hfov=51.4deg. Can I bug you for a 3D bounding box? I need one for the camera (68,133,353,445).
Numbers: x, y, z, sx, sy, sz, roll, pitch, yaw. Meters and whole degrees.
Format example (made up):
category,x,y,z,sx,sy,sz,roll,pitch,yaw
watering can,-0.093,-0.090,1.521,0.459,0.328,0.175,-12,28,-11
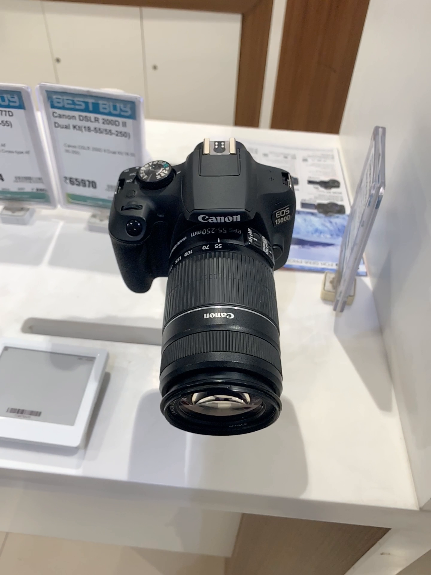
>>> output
category,x,y,z,sx,sy,sz,roll,pitch,yaw
camera,-0.005,-0.003,0.269,0.117,0.090,0.164,0,54,-3
